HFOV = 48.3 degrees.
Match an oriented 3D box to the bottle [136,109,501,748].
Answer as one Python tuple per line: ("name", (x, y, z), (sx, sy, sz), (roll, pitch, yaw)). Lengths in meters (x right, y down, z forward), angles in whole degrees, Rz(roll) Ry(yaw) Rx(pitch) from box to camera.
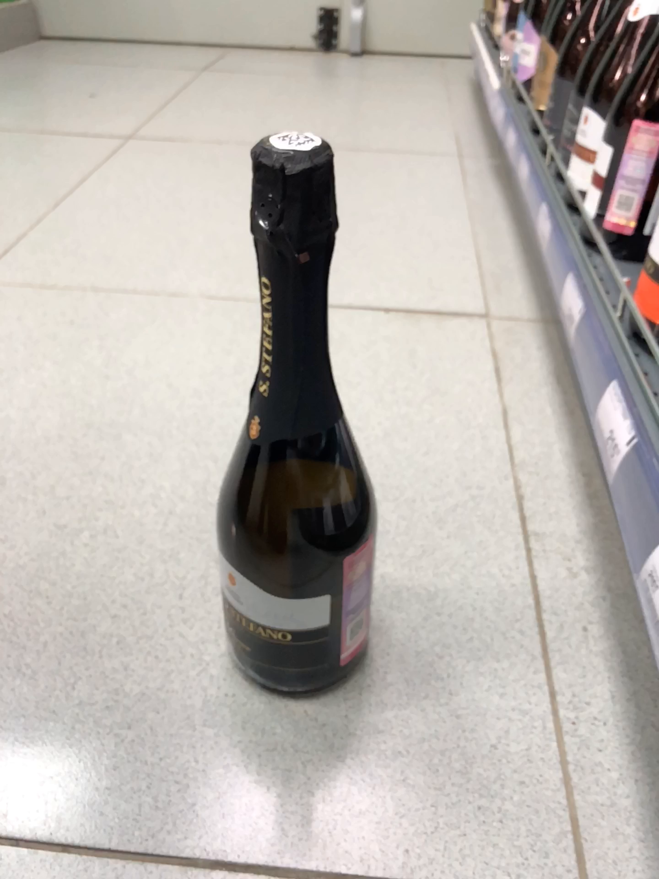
("bottle", (-0.011, 0.006, 0.379), (0.100, 0.298, 0.110), (-22, 42, -29))
